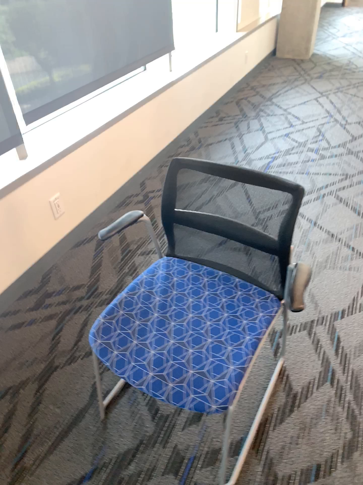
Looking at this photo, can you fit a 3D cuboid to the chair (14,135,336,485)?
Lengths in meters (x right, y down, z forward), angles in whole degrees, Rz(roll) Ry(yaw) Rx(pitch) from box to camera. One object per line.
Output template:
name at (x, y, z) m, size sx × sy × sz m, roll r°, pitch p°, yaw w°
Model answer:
chair at (0.035, 0.199, 1.105) m, size 0.531 × 0.763 × 0.584 m, roll 18°, pitch 43°, yaw 24°
